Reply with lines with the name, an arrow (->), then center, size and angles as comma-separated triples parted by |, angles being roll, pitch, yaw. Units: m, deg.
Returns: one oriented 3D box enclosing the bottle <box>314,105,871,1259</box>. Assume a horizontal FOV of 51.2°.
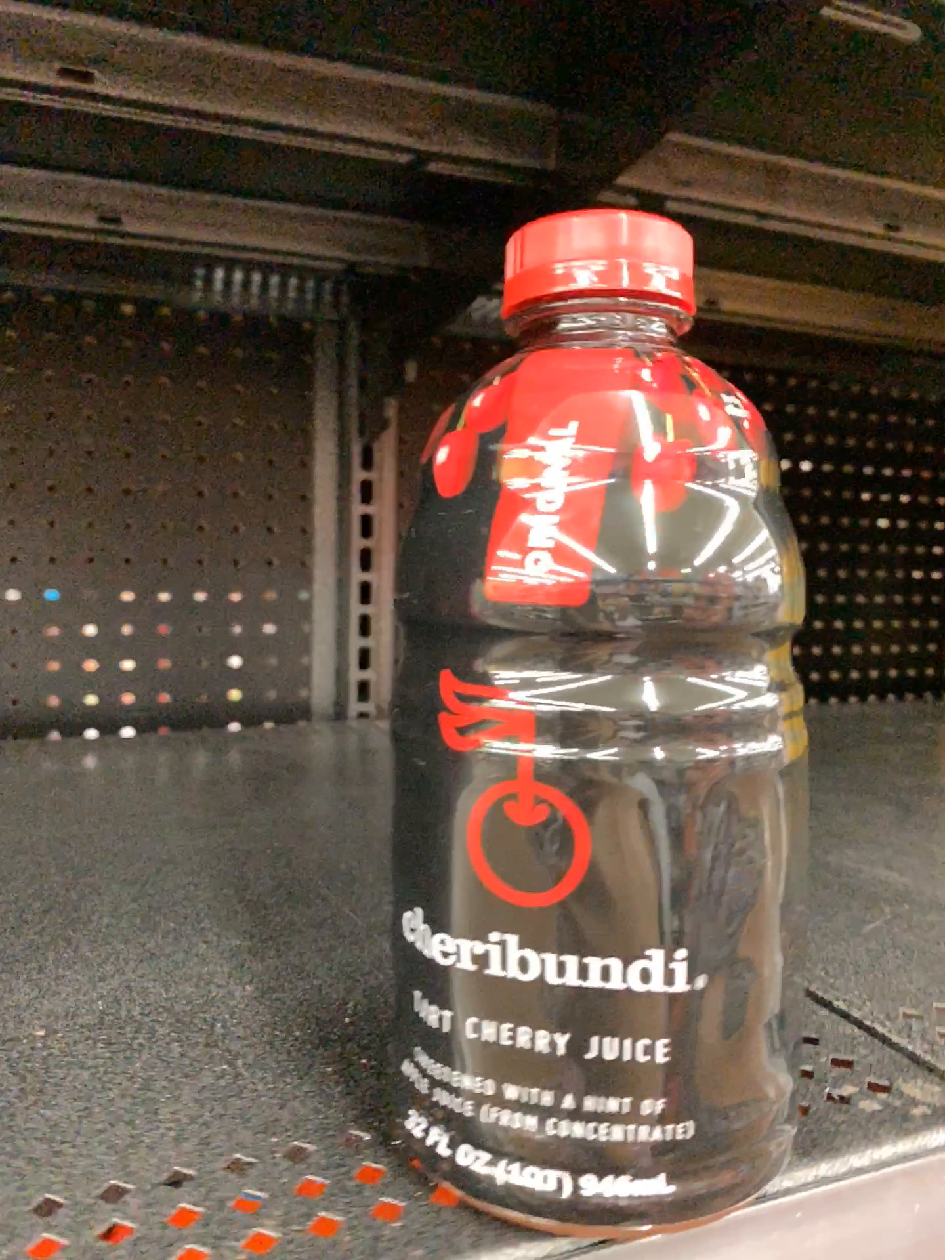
bottle -> 0.031, 0.016, 0.218 | 0.095, 0.205, 0.090 | 1, 5, 0
